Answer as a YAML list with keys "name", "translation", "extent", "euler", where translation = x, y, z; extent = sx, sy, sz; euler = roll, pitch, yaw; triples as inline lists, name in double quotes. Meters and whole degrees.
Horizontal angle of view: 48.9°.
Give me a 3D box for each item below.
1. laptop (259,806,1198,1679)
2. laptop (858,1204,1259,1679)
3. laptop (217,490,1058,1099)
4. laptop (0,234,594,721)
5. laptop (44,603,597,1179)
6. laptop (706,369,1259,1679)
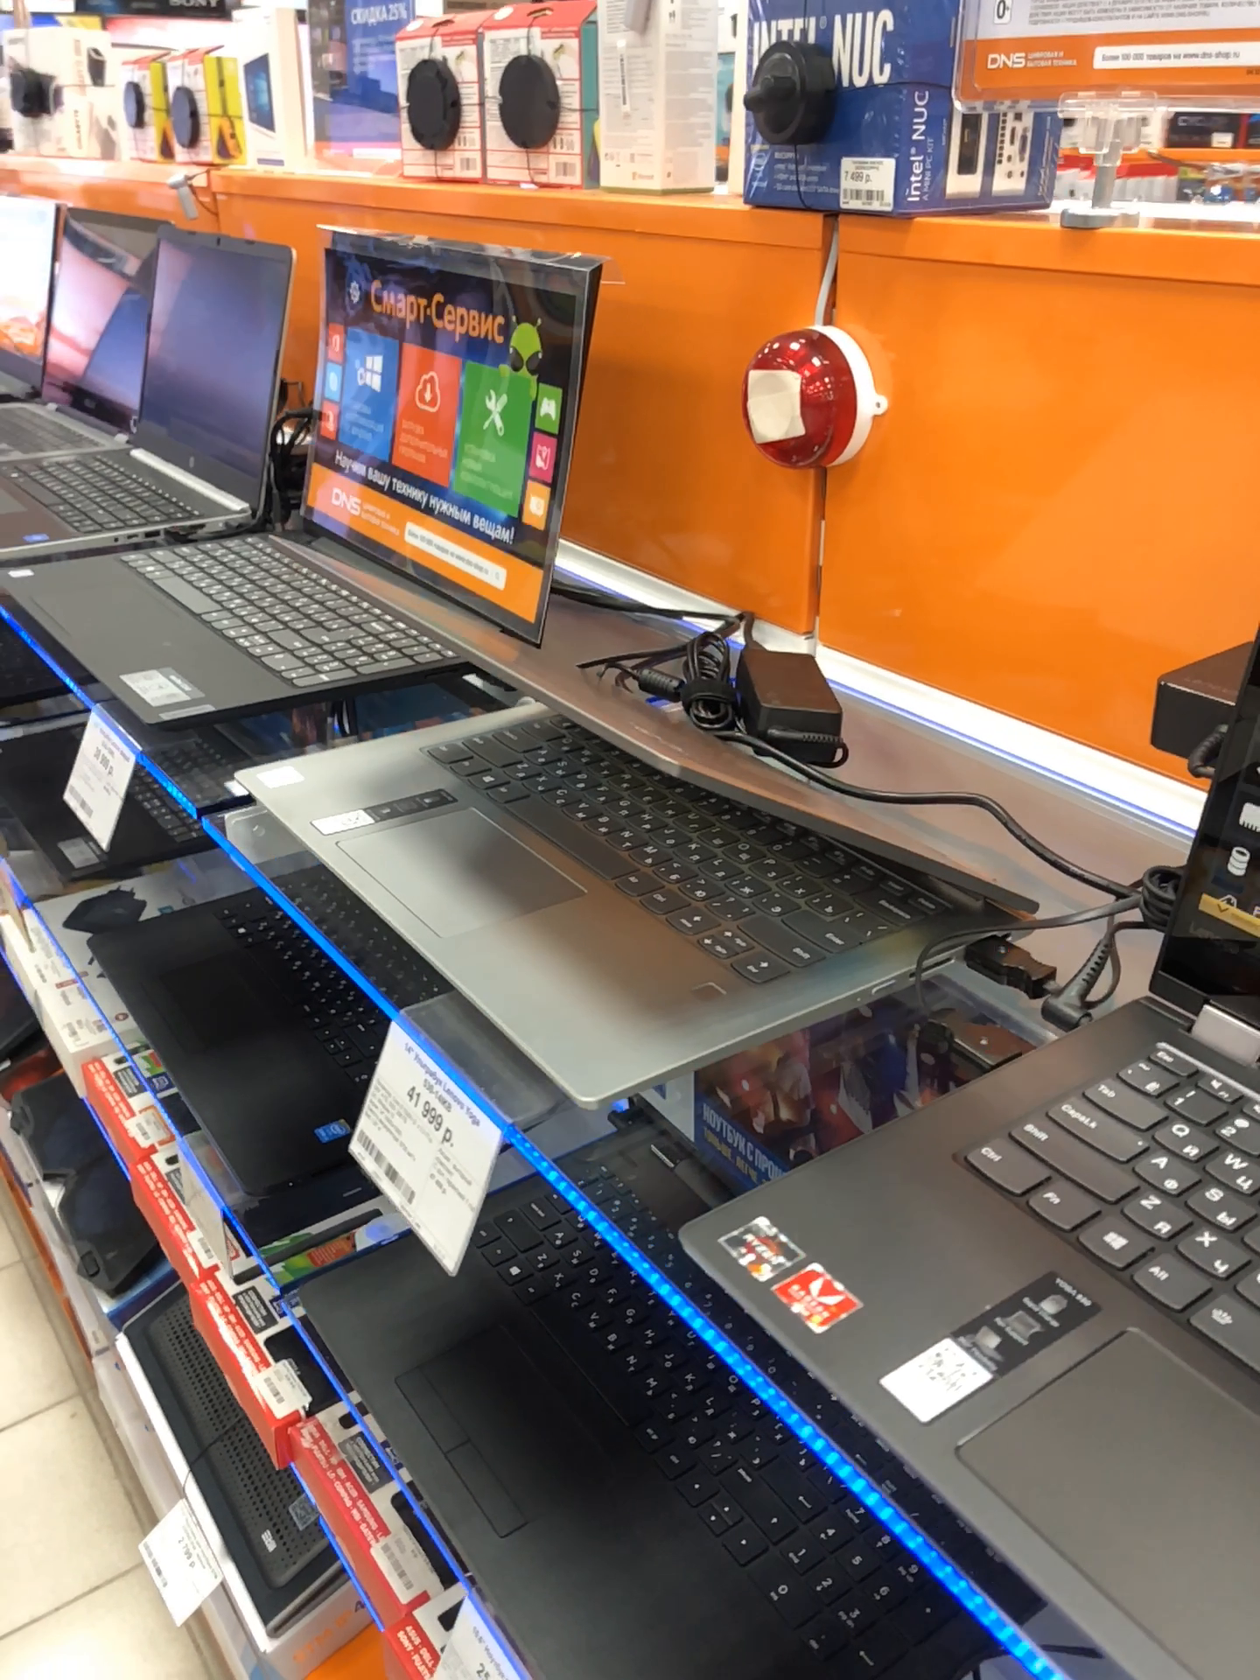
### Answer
- name: "laptop"
  translation: [0.021, 0.183, 0.665]
  extent: [0.260, 0.223, 0.362]
  euler: [-17, 31, -30]
- name: "laptop"
  translation: [0.255, 0.329, 0.345]
  extent: [0.235, 0.228, 0.330]
  euler: [-19, 32, -31]
- name: "laptop"
  translation: [-0.016, -0.052, 0.598]
  extent: [0.210, 0.110, 0.314]
  euler: [-17, 32, -30]
- name: "laptop"
  translation: [-0.235, -0.255, 0.879]
  extent: [0.276, 0.219, 0.330]
  euler: [-17, 31, -32]
- name: "laptop"
  translation: [-0.225, 0.011, 0.988]
  extent: [0.244, 0.222, 0.334]
  euler: [-19, 33, -28]
- name: "laptop"
  translation: [0.208, 0.045, 0.292]
  extent: [0.247, 0.210, 0.328]
  euler: [-18, 32, -32]
